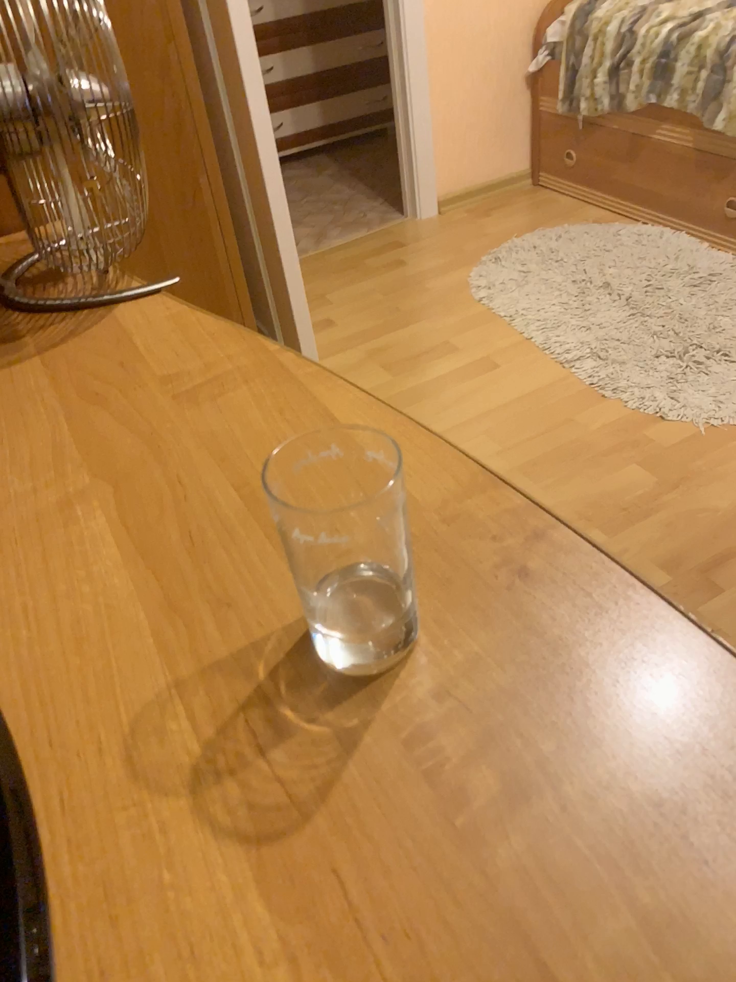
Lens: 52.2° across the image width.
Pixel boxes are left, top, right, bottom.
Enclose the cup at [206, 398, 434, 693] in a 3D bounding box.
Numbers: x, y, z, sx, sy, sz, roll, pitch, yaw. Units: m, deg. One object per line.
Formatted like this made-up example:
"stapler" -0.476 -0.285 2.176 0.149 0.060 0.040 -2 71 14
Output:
"cup" -0.014 0.023 0.314 0.060 0.099 0.060 -6 39 5
